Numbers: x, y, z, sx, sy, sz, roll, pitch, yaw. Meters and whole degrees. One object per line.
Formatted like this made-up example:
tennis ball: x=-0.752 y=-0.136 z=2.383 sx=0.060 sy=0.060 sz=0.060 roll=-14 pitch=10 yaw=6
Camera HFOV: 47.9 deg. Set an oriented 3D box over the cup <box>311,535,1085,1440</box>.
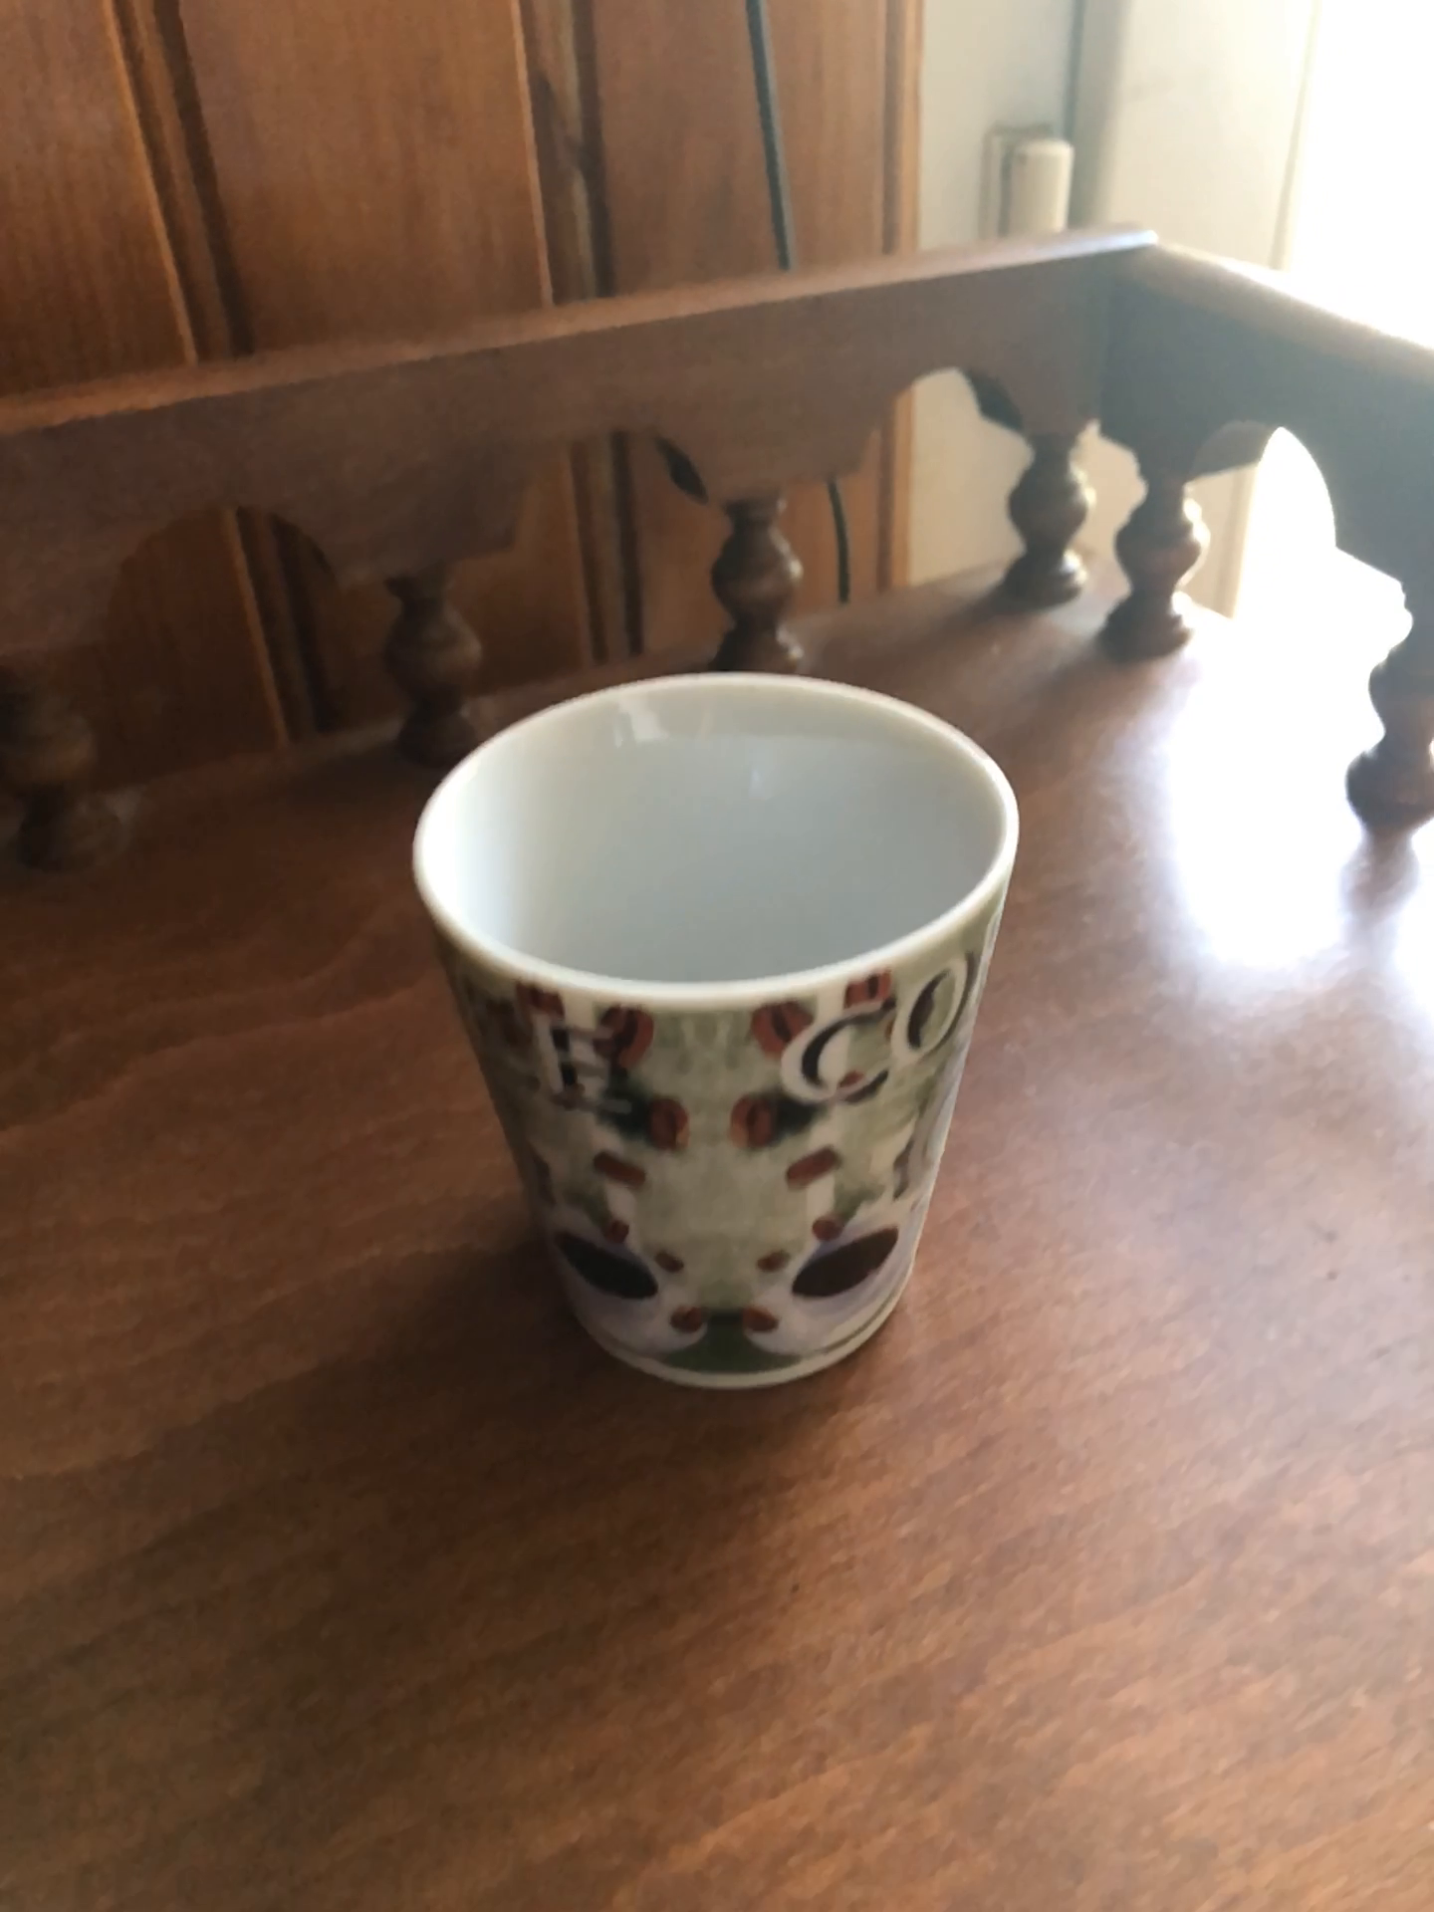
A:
cup: x=0.001 y=0.000 z=0.175 sx=0.060 sy=0.060 sz=0.081 roll=-1 pitch=38 yaw=3
